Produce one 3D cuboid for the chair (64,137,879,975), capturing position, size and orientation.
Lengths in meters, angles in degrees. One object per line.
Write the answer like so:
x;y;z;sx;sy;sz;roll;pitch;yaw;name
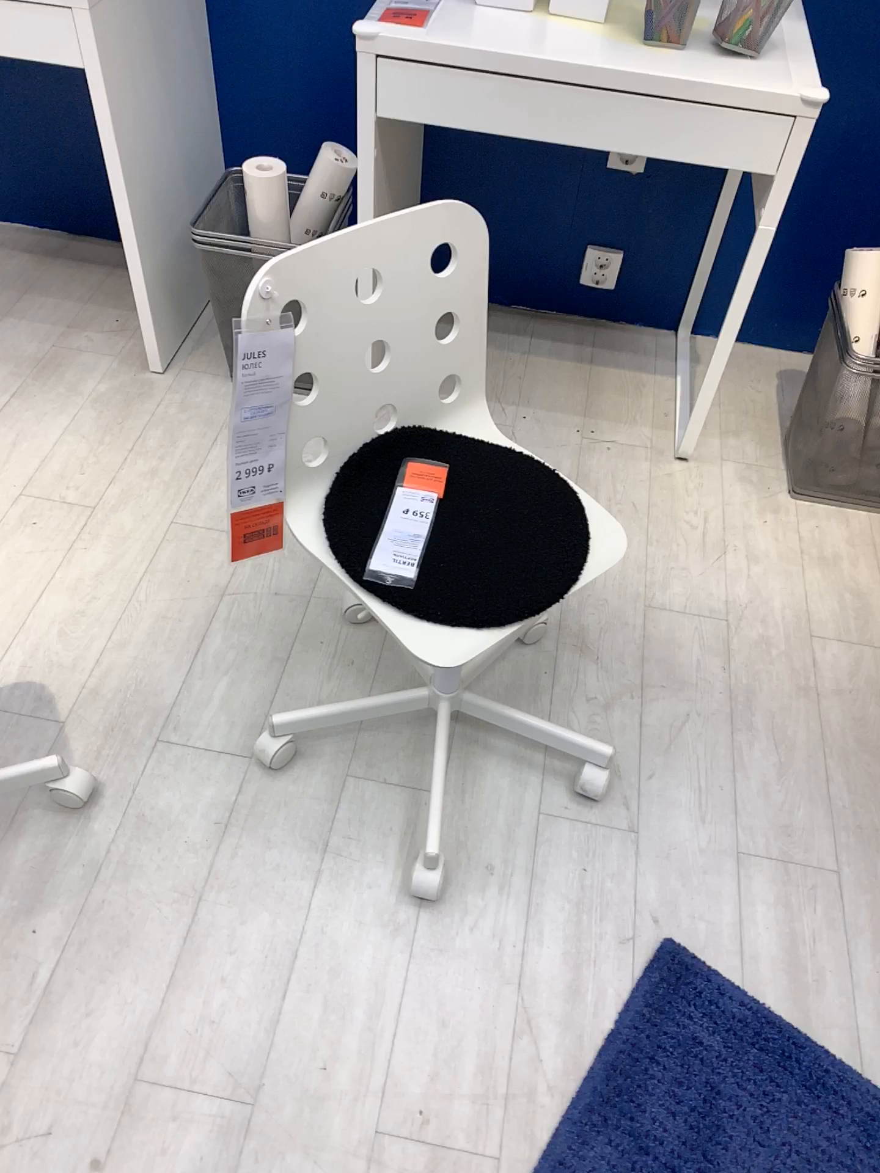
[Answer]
0.017;-0.038;1.197;0.602;0.737;0.591;-34;60;-29;chair
